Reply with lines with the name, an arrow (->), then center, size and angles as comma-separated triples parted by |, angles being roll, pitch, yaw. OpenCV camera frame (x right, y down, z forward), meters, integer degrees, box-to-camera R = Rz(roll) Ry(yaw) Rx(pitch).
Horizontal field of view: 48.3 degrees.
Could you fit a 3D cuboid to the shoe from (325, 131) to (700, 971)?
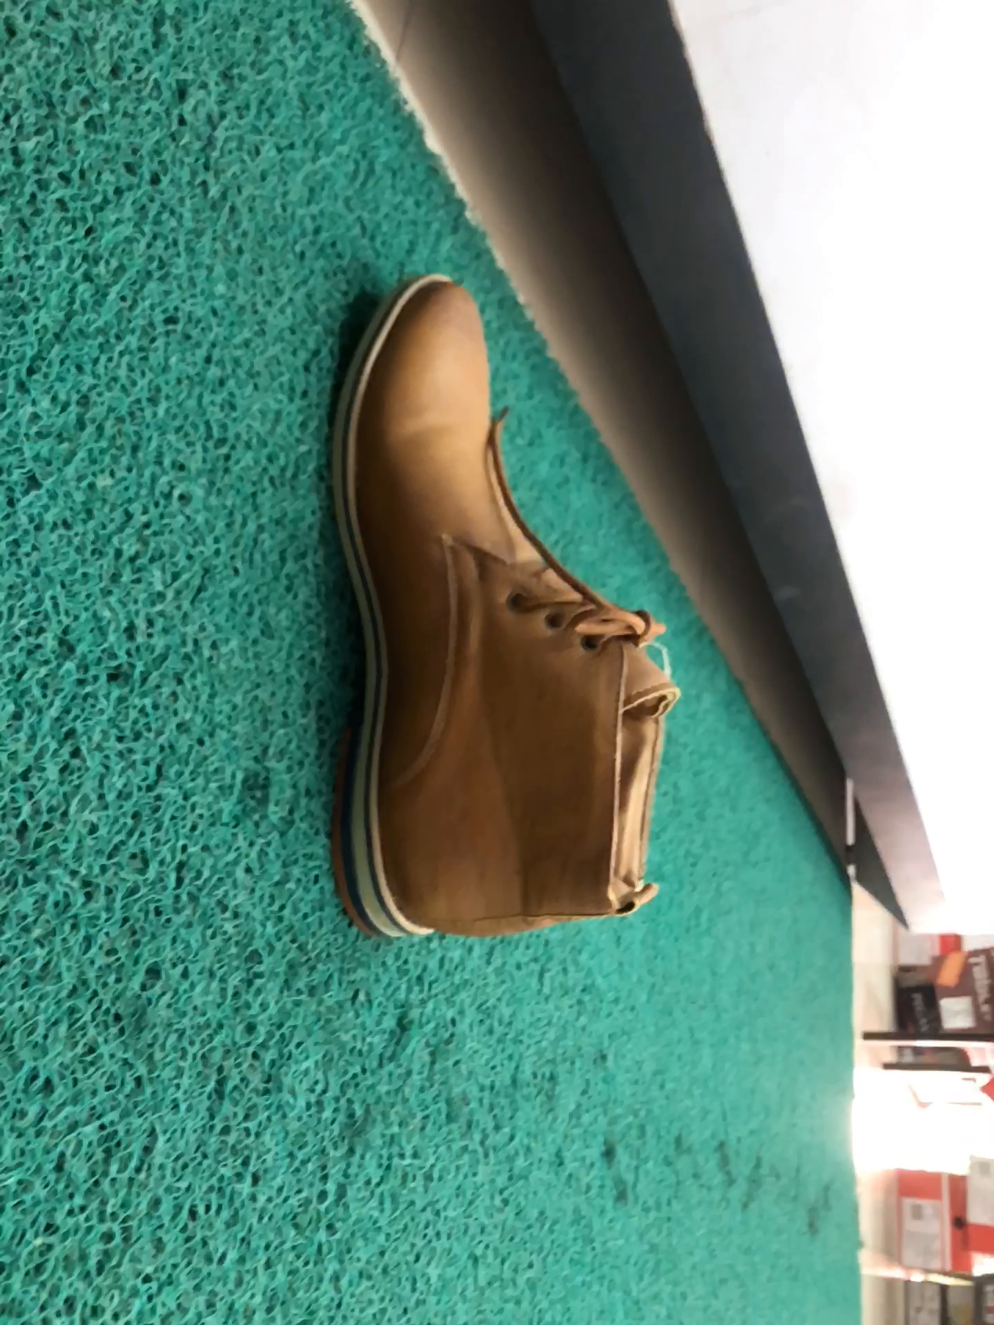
shoe -> 0.008, -0.036, 0.474 | 0.121, 0.109, 0.310 | 16, 70, -63
